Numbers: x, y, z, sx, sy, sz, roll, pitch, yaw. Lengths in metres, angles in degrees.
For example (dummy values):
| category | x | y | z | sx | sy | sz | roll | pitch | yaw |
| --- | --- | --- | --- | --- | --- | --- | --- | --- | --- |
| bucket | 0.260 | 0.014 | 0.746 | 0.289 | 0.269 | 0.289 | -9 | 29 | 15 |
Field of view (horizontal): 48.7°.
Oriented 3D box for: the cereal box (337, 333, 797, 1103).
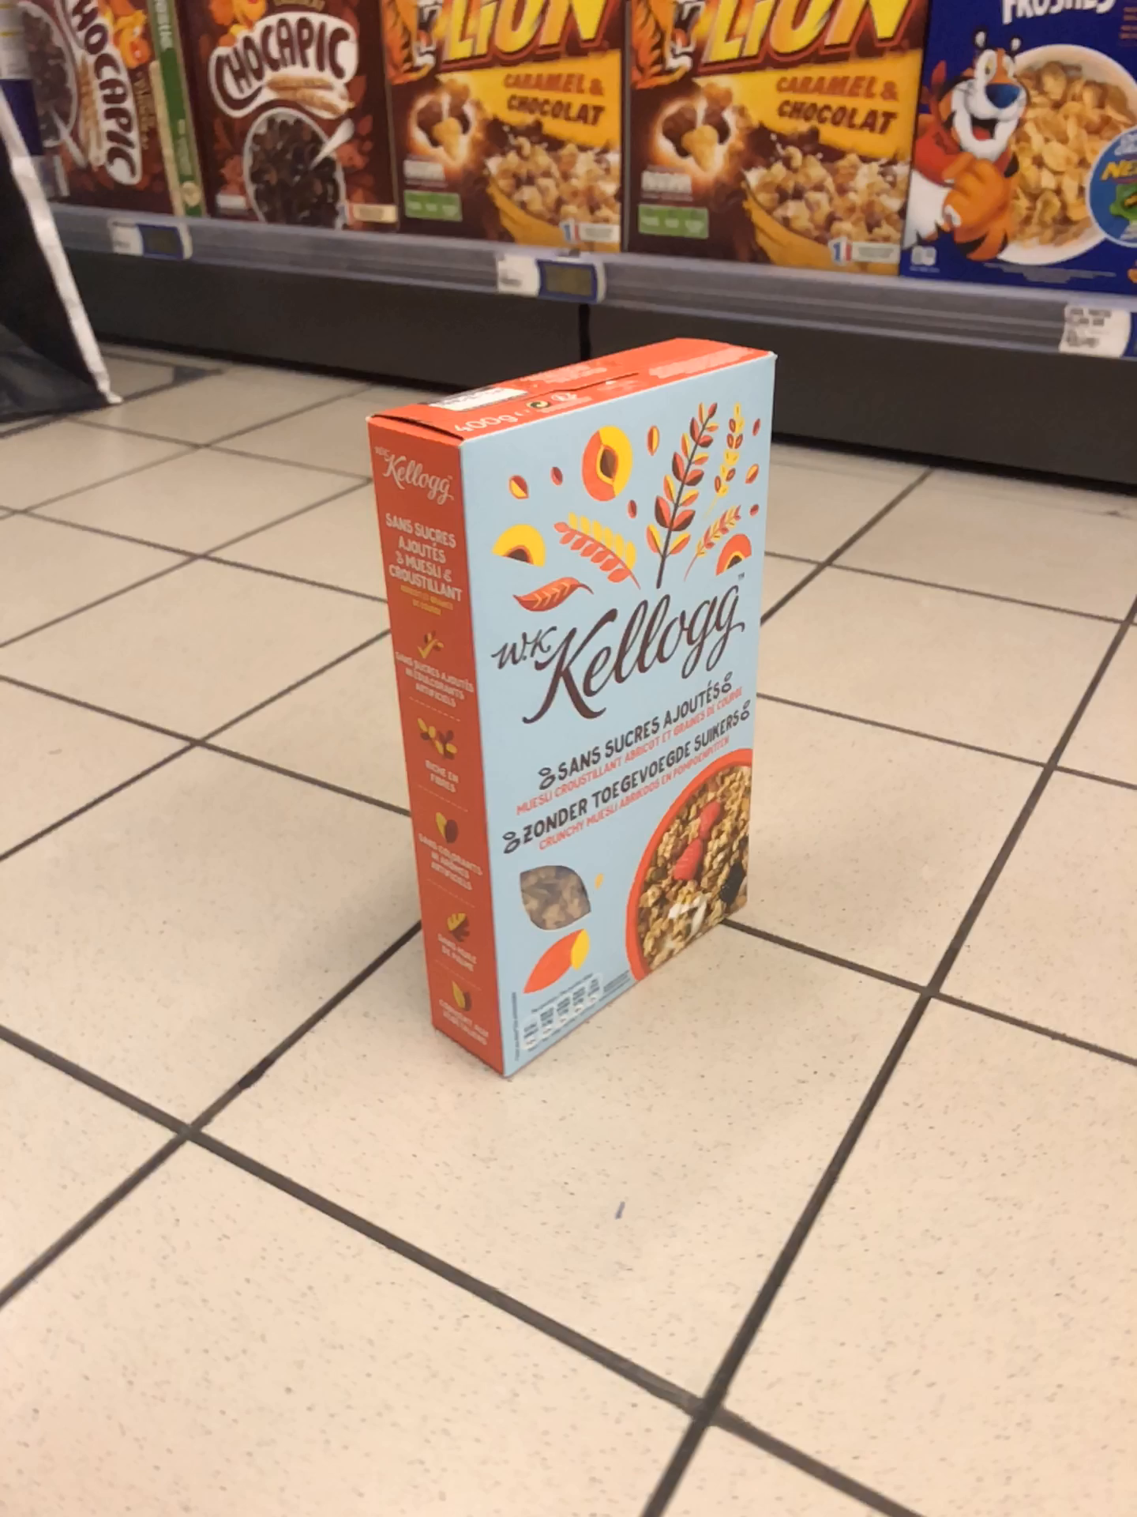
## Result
| category | x | y | z | sx | sy | sz | roll | pitch | yaw |
| --- | --- | --- | --- | --- | --- | --- | --- | --- | --- |
| cereal box | 0.009 | -0.017 | 0.442 | 0.151 | 0.229 | 0.050 | -26 | 36 | -37 |
